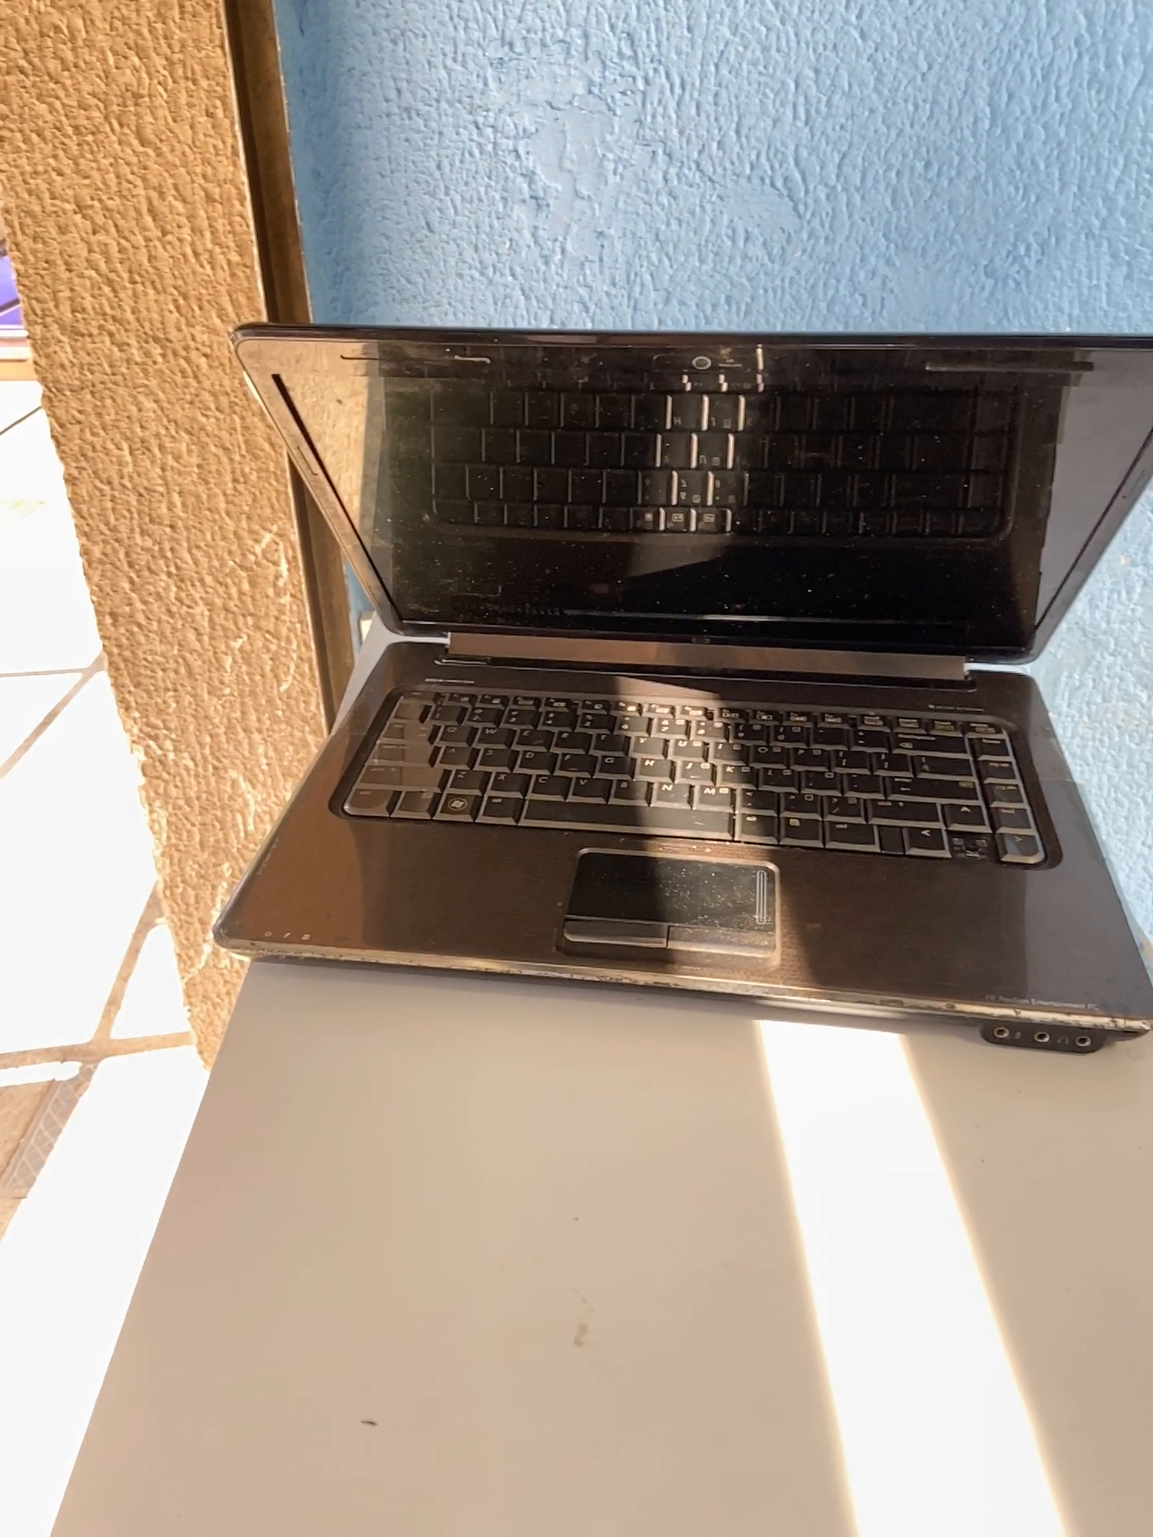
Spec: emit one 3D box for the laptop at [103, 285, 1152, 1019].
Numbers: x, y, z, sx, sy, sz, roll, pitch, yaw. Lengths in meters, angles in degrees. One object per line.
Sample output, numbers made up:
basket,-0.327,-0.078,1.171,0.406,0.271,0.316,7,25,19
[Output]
laptop,0.044,-0.072,0.487,0.344,0.190,0.246,3,32,8
